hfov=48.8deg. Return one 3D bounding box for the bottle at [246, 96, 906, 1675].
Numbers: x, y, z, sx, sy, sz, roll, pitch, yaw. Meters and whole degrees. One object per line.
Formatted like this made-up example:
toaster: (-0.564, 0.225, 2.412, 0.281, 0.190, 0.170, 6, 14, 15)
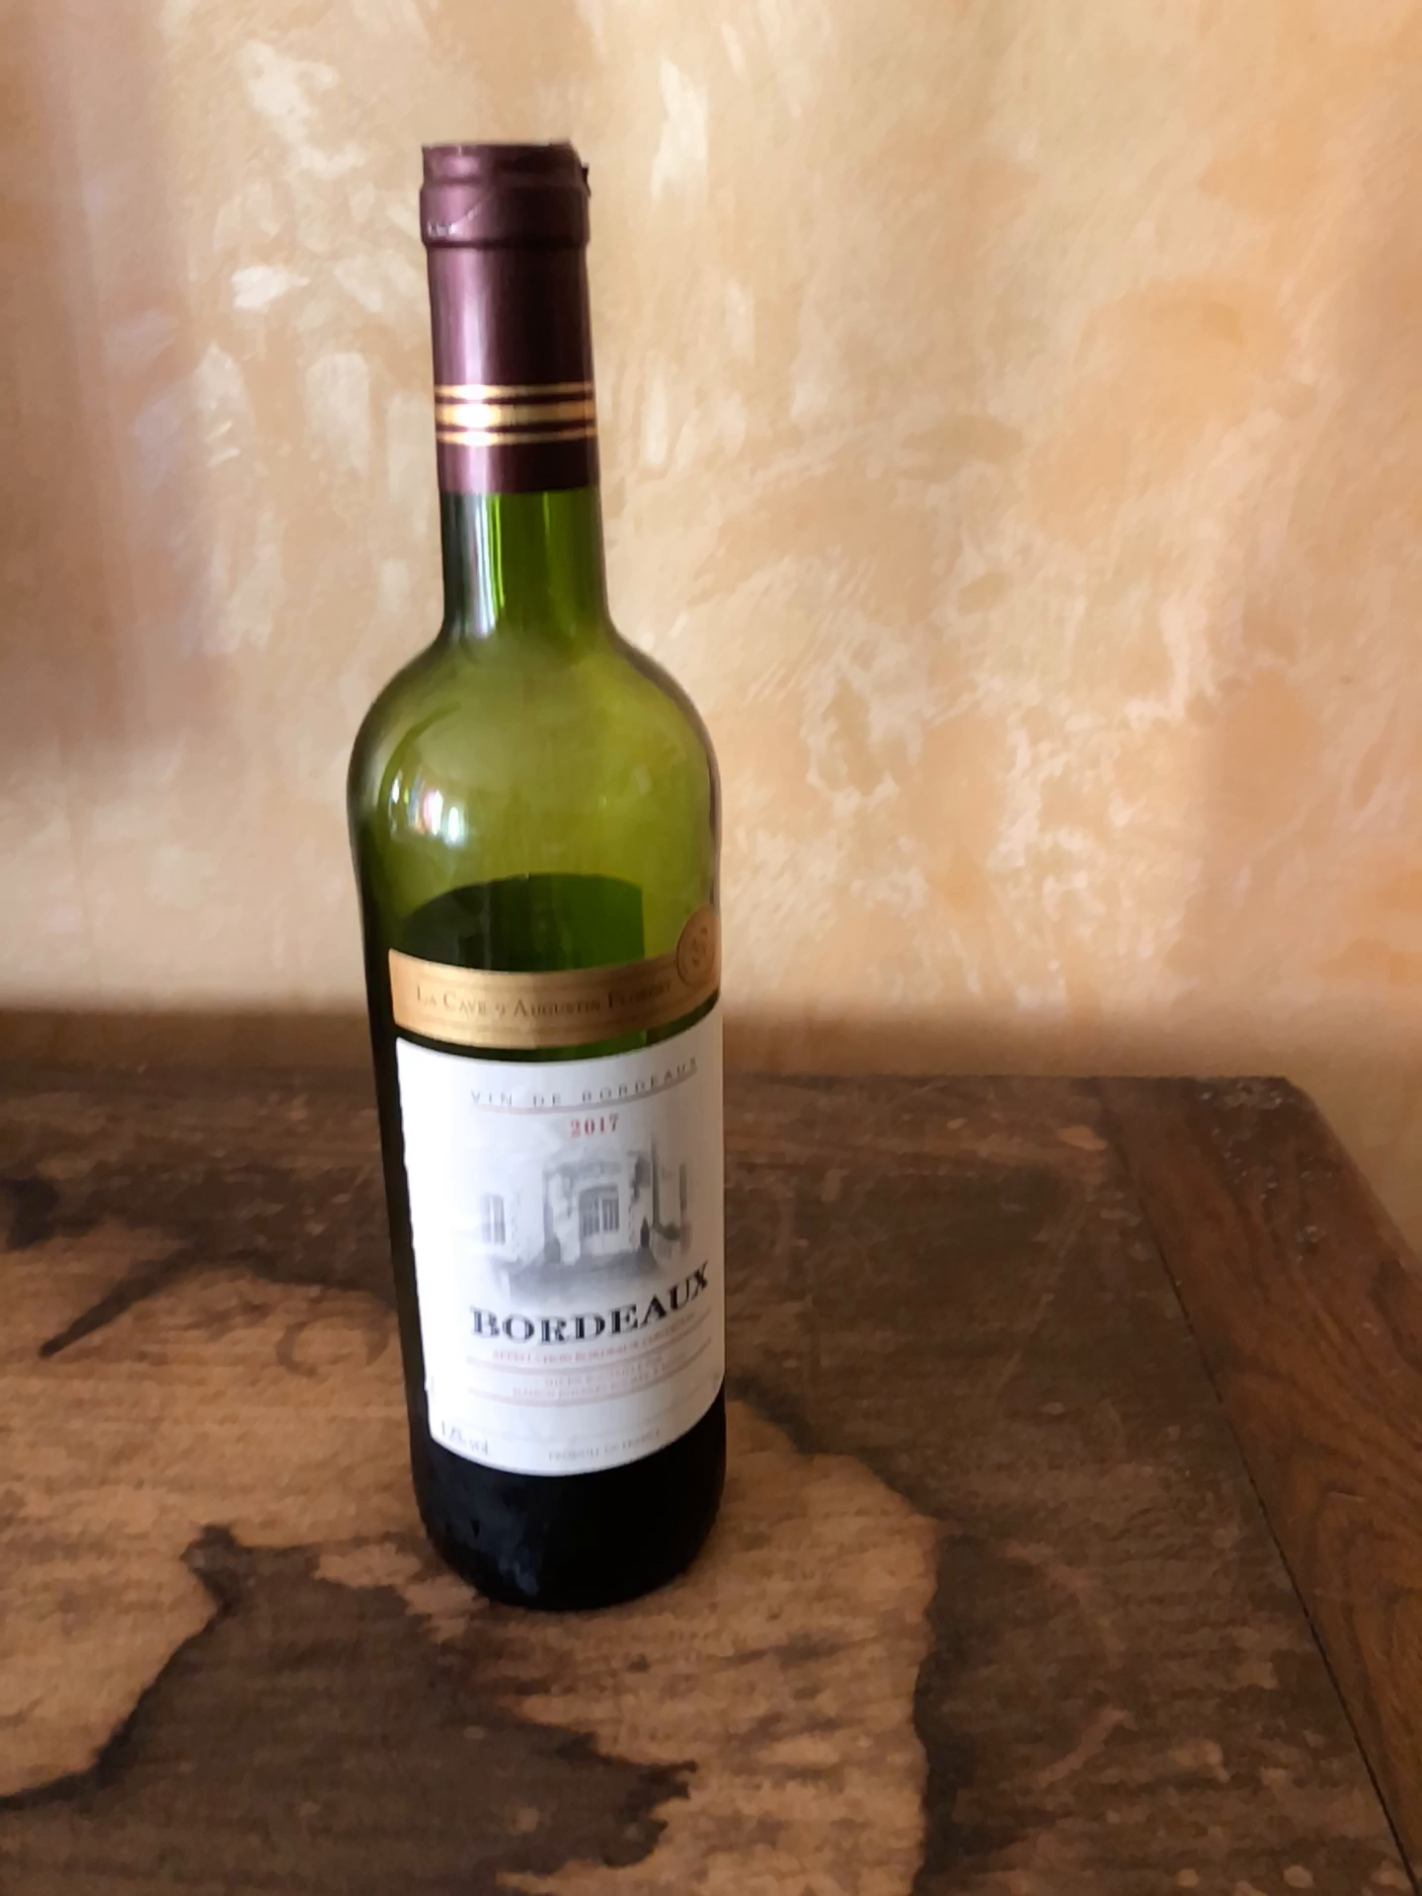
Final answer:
bottle: (-0.029, -0.004, 0.319, 0.090, 0.288, 0.080, -8, 24, -22)
